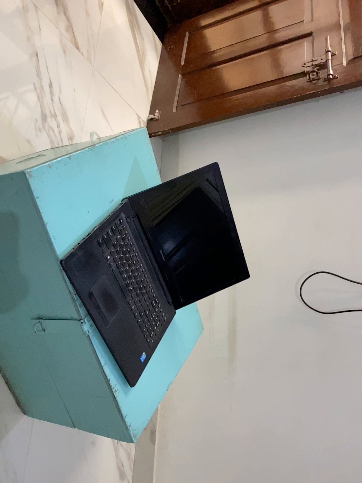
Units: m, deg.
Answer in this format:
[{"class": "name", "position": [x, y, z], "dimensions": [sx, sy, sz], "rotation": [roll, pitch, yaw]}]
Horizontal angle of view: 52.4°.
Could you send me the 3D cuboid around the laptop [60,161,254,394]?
[{"class": "laptop", "position": [-0.007, 0.071, 0.914], "dimensions": [0.425, 0.190, 0.371], "rotation": [-55, 133, -48]}]
